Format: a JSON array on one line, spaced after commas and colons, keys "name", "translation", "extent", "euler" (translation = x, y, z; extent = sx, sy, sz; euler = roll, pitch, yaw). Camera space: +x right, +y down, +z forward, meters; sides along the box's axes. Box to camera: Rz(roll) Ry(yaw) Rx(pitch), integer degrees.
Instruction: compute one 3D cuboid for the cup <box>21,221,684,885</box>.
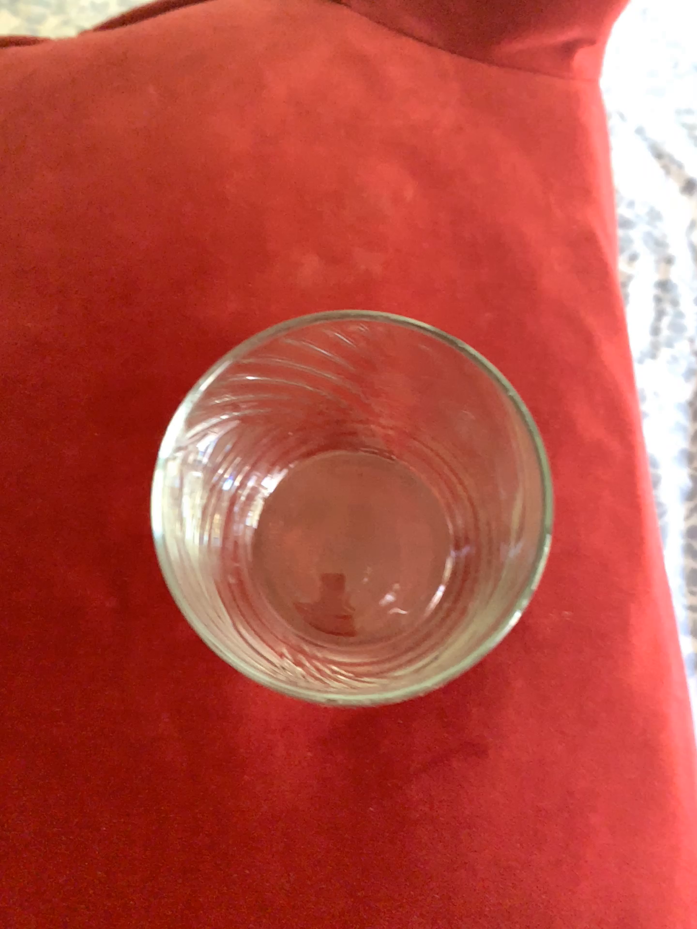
[{"name": "cup", "translation": [0.003, 0.019, 0.164], "extent": [0.080, 0.090, 0.080], "euler": [-1, 77, 3]}]
